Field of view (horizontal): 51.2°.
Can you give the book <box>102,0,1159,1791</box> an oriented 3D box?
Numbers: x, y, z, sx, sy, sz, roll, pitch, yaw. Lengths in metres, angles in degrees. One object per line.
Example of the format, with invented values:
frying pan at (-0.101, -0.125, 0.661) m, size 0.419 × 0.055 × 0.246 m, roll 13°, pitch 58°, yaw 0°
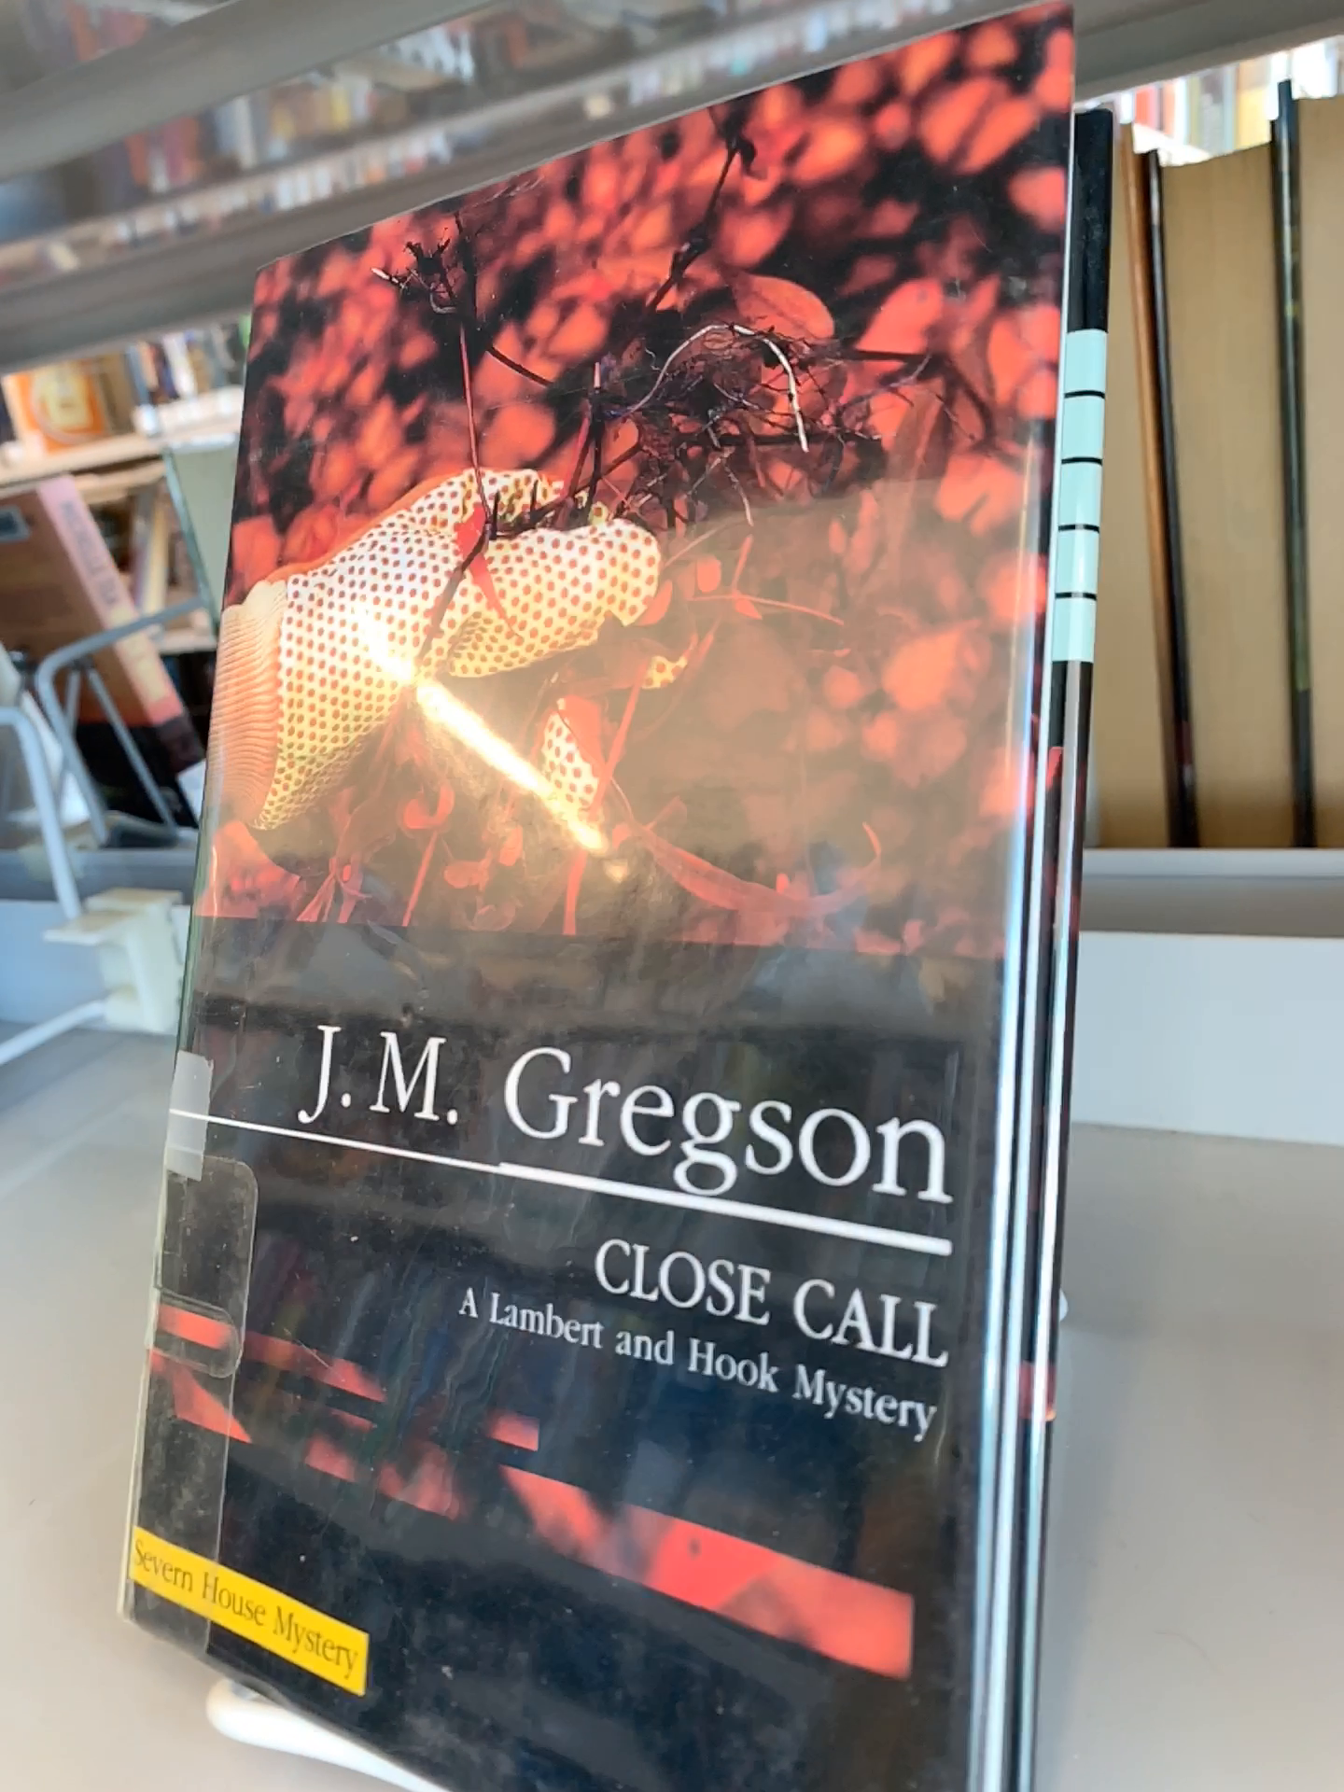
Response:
book at (-0.014, 0.007, 0.192) m, size 0.140 × 0.208 × 0.030 m, roll 1°, pitch -4°, yaw 34°
